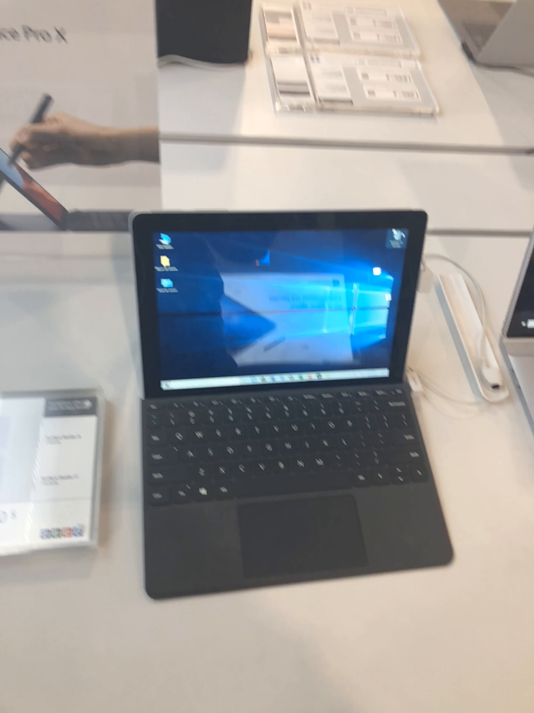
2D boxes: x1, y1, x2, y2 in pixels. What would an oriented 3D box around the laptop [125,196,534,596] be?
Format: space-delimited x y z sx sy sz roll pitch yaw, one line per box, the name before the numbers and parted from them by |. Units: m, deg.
laptop | 0.021 0.022 0.458 0.236 0.140 0.251 -3 59 -12
